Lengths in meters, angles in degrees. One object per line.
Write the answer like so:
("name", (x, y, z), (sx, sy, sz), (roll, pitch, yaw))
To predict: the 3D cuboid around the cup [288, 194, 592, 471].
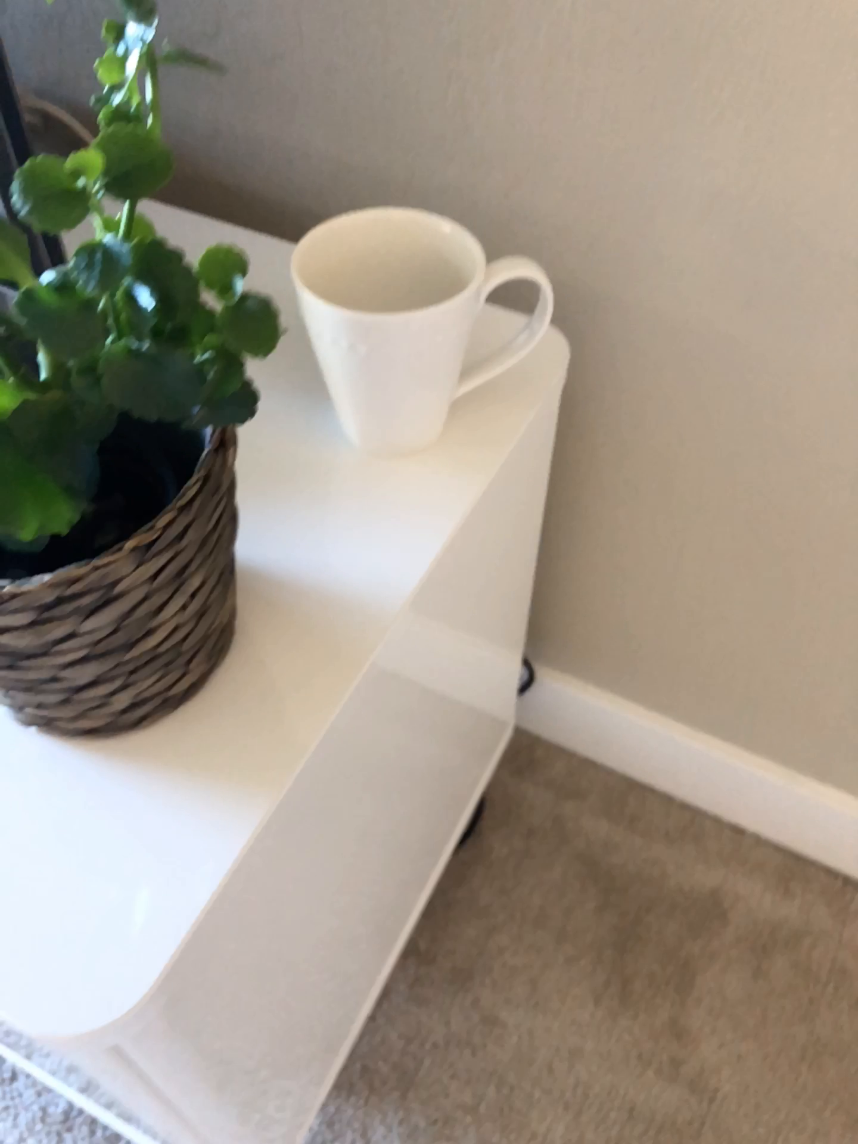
("cup", (0.001, -0.122, 0.489), (0.130, 0.090, 0.090), (-7, 50, -7))
